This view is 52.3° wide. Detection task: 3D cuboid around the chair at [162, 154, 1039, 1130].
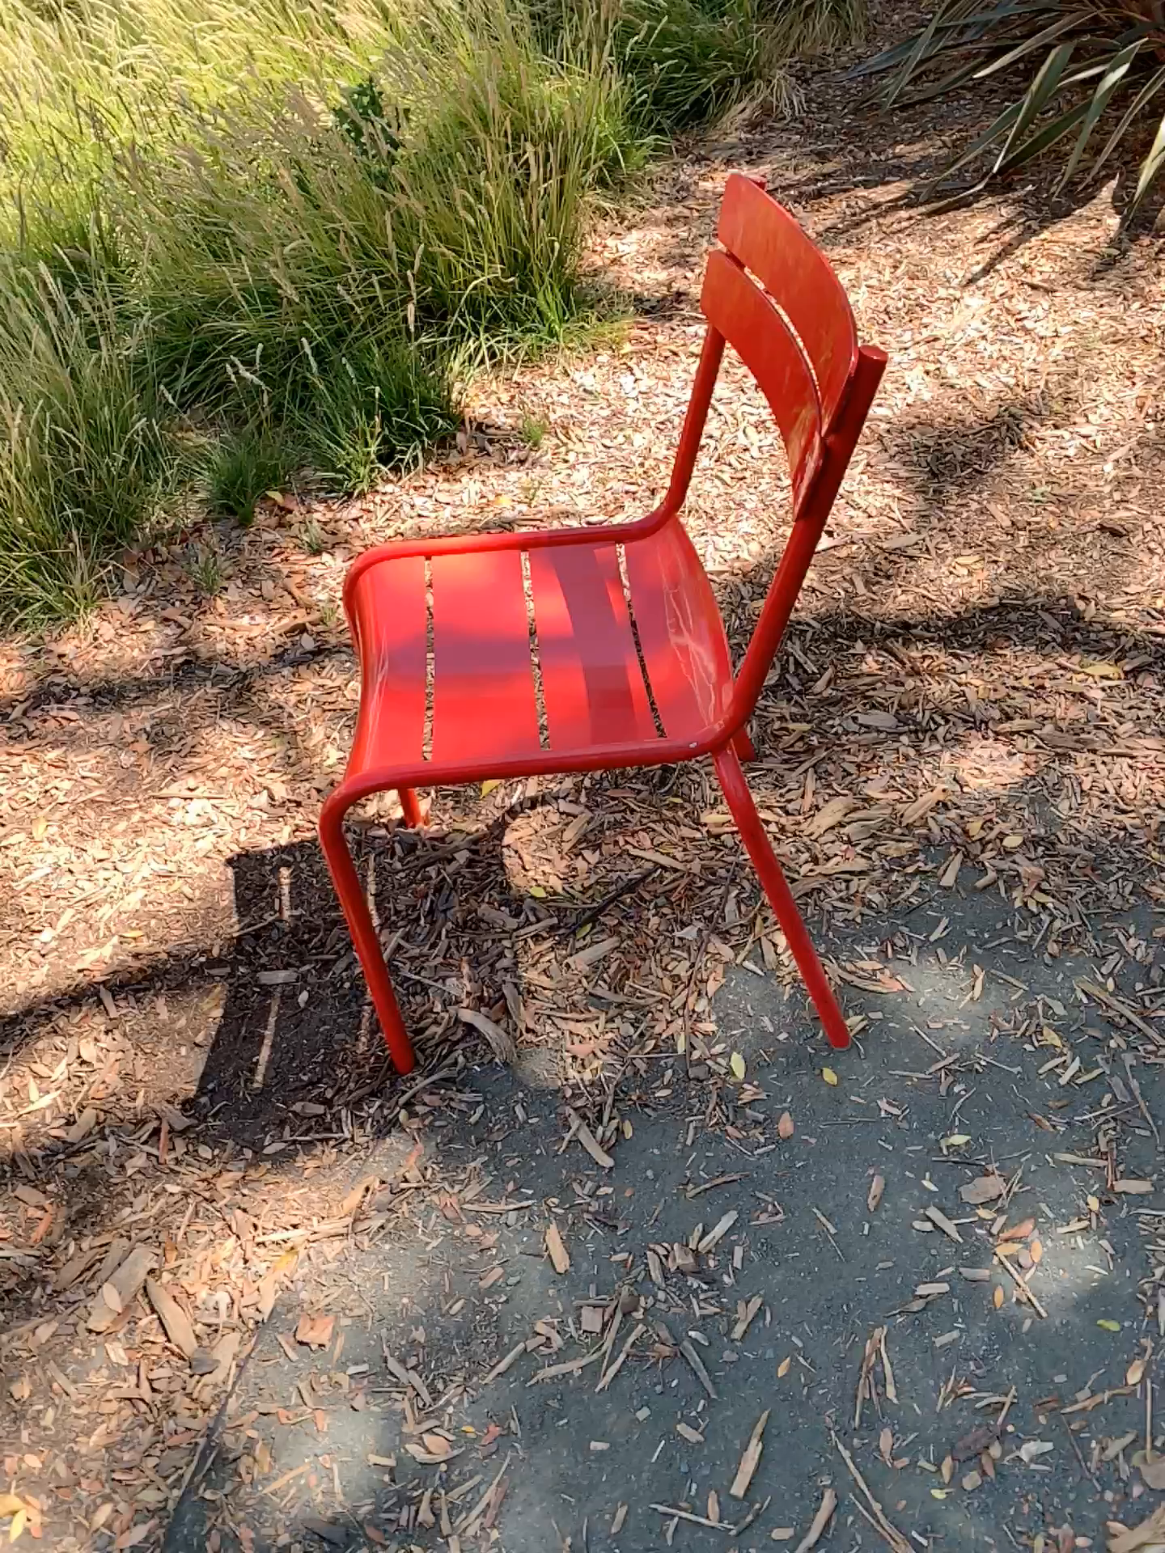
[{"bbox_3d":[-0.014,-0.143,1.251,0.570,0.785,0.614,-4,40,-5],"label":"chair"}]
